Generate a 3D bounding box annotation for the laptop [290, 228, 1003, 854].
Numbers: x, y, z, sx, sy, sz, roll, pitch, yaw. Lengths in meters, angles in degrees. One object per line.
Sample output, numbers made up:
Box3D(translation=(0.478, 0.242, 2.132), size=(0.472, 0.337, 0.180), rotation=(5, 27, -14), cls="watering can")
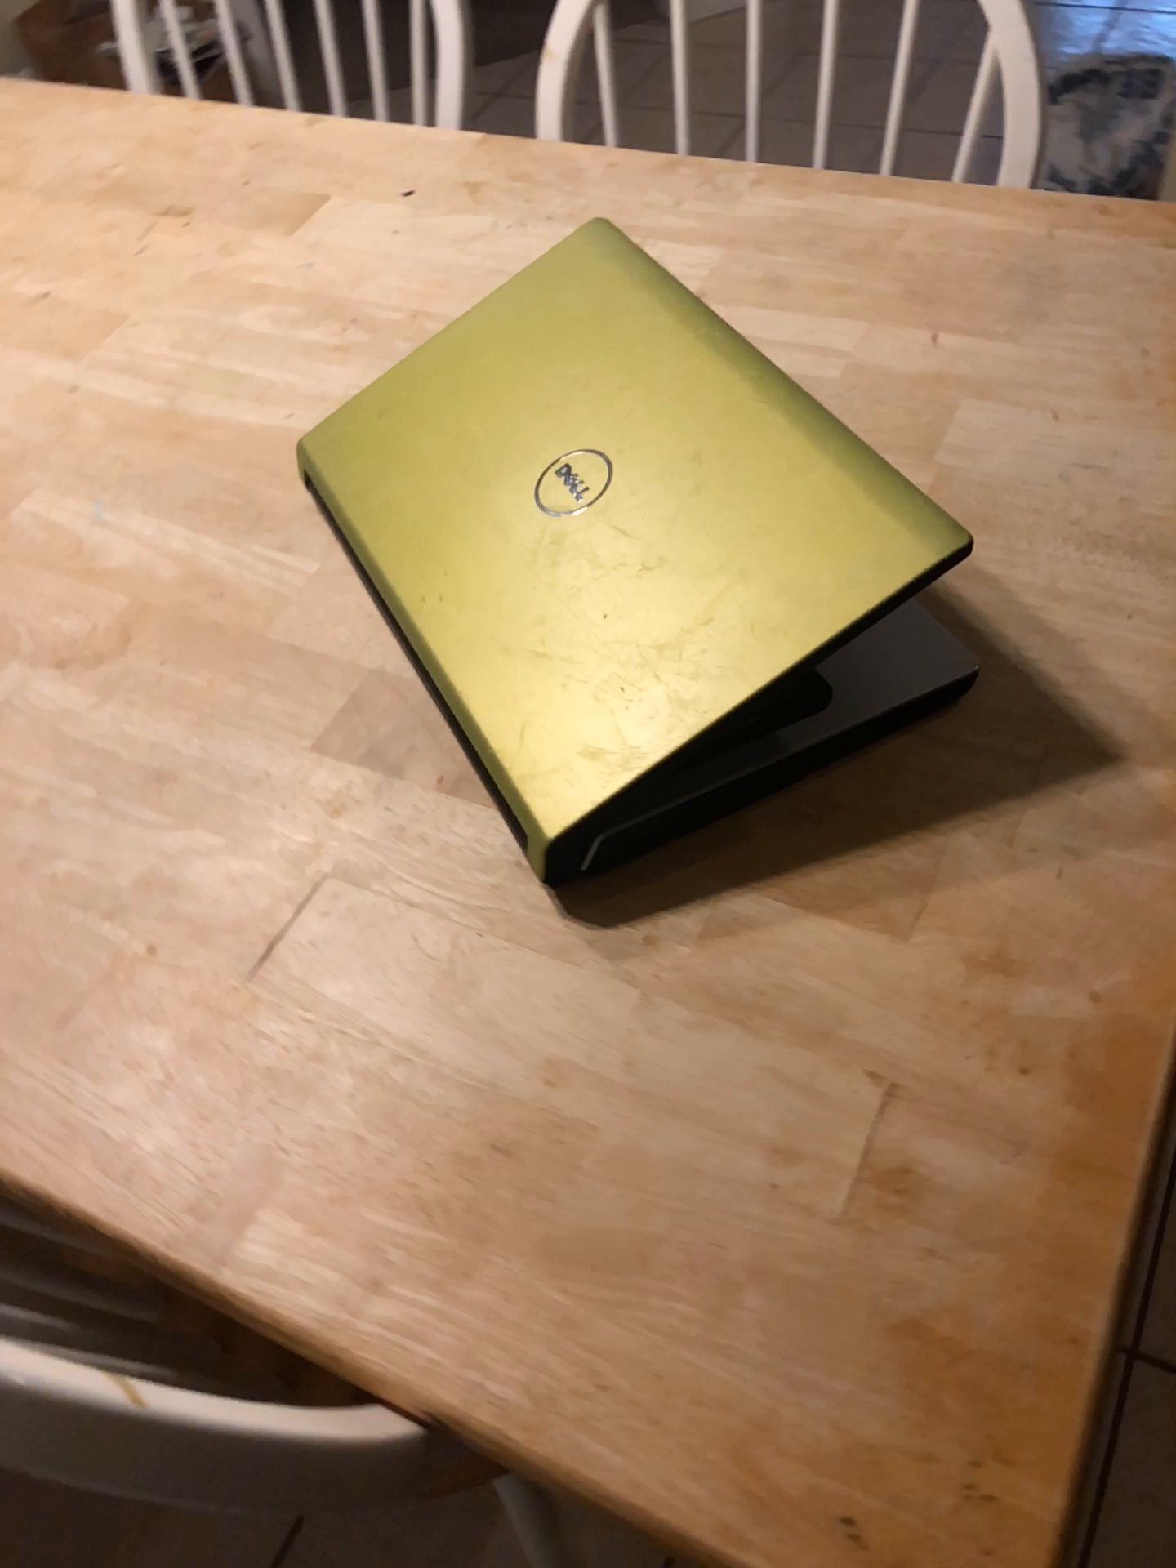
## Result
Box3D(translation=(0.012, -0.156, 0.688), size=(0.227, 0.077, 0.360), rotation=(-24, 51, -13), cls="laptop")
